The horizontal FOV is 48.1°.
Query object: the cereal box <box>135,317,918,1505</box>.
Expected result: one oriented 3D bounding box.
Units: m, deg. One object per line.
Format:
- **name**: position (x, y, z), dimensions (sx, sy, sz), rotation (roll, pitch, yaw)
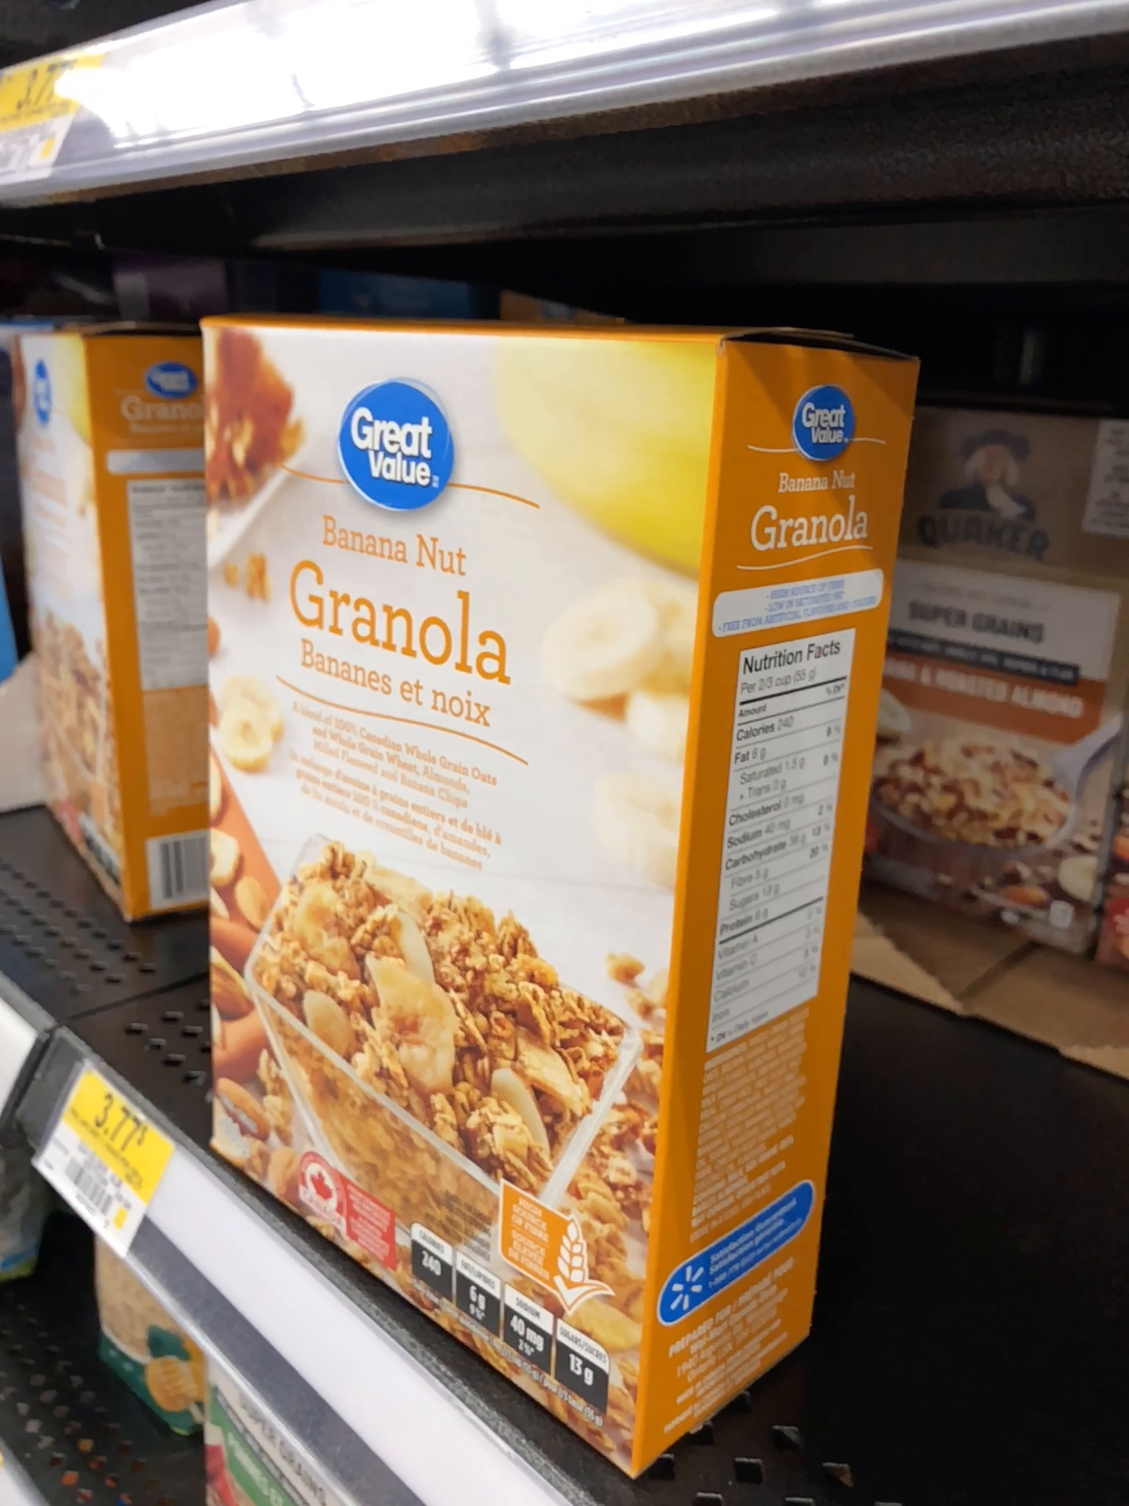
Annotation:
- **cereal box**: position (-0.021, 0.016, 0.278), dimensions (0.060, 0.209, 0.160), rotation (-15, 23, -43)
